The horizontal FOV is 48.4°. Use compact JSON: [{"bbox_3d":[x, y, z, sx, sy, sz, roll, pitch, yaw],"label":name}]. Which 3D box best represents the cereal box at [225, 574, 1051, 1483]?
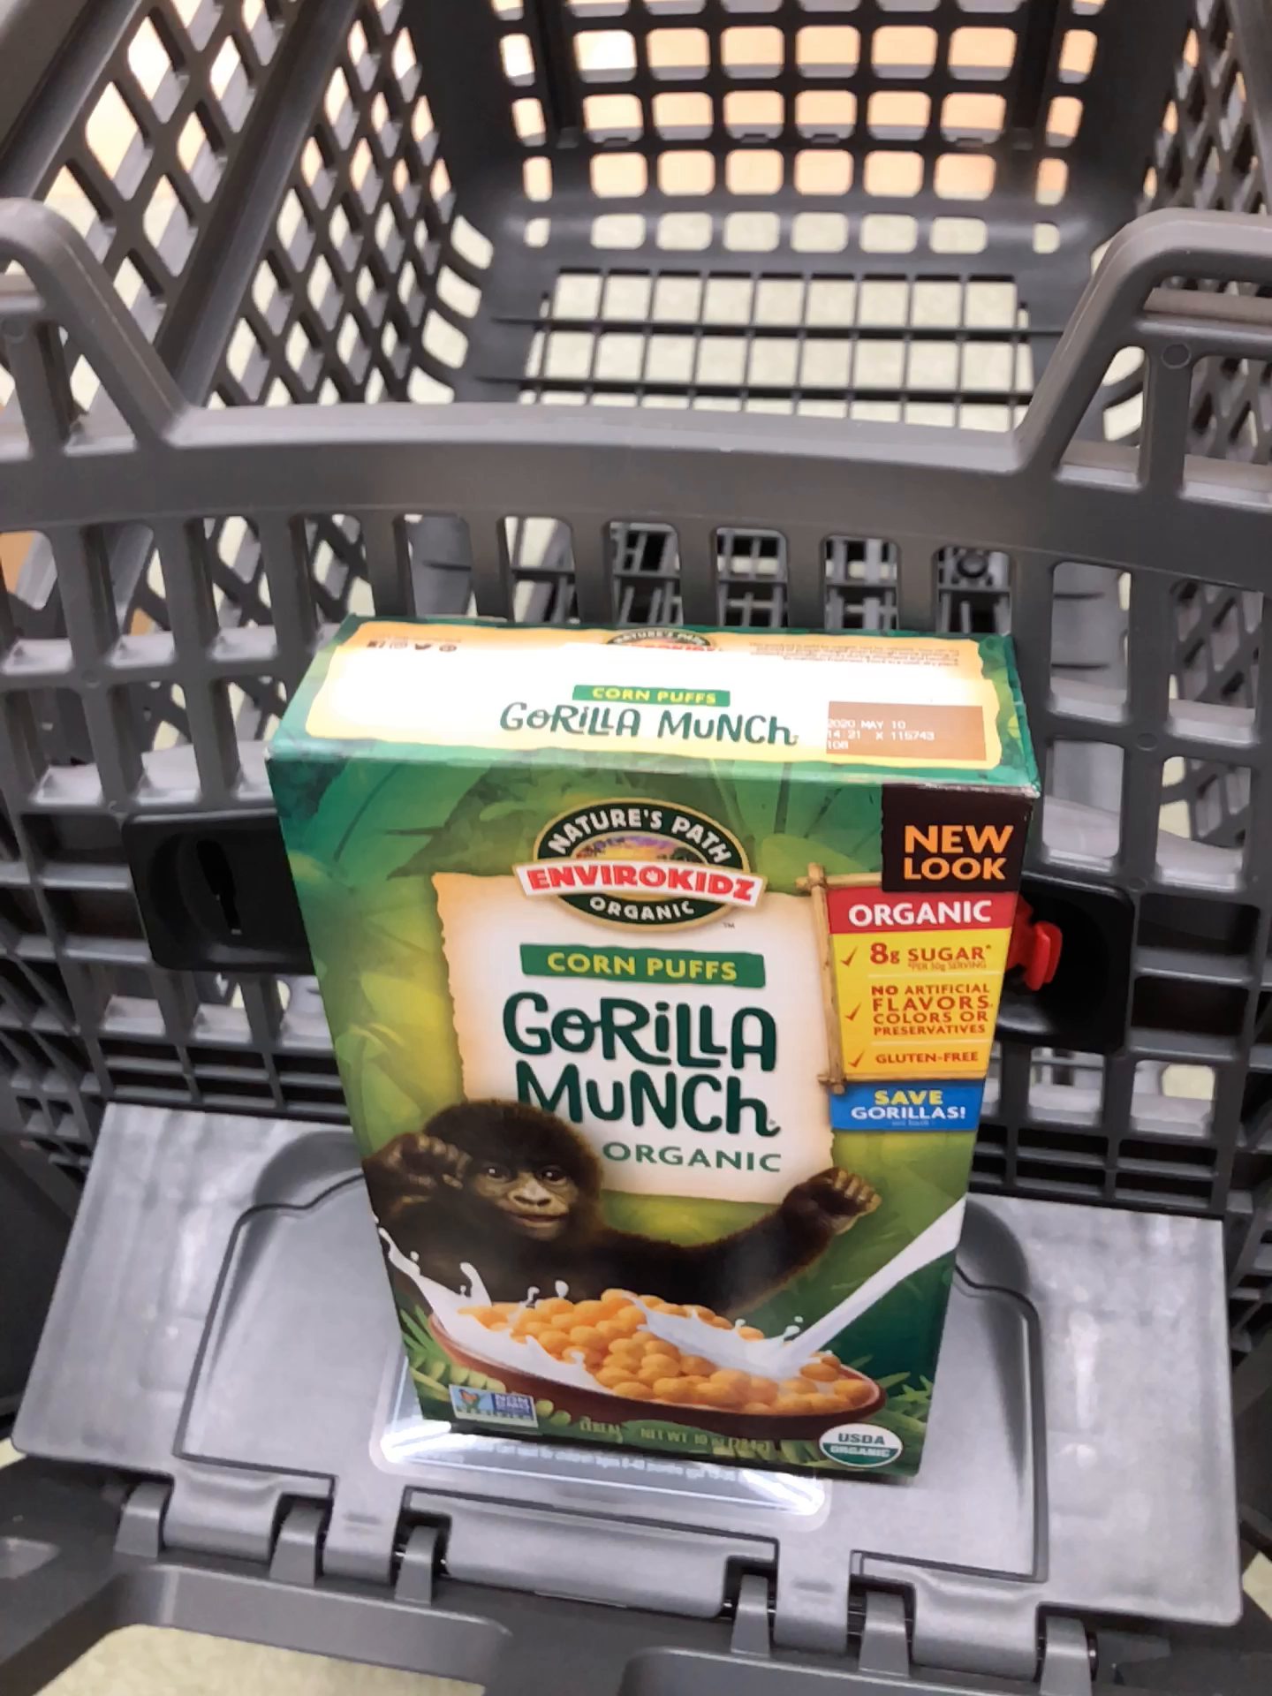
[{"bbox_3d":[0.007,0.063,0.380,0.160,0.260,0.070,4,40,8],"label":"cereal box"}]
